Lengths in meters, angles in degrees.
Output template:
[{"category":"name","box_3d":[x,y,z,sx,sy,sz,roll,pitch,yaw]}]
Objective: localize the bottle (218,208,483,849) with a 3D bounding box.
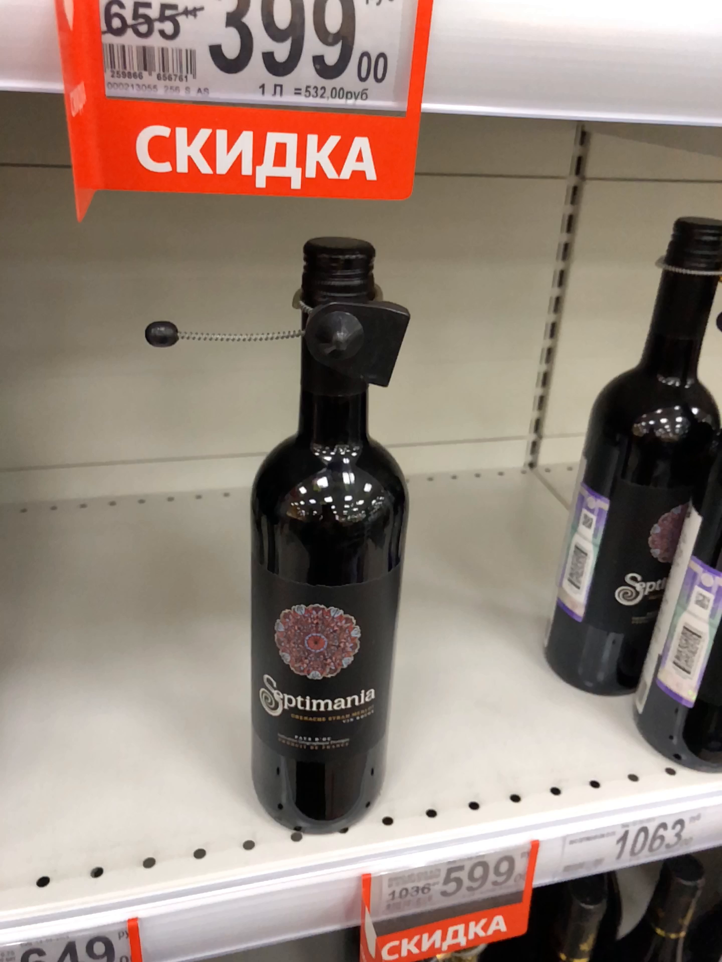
[{"category":"bottle","box_3d":[-0.015,0.032,0.377,0.090,0.290,0.090,3,27,-1]}]
